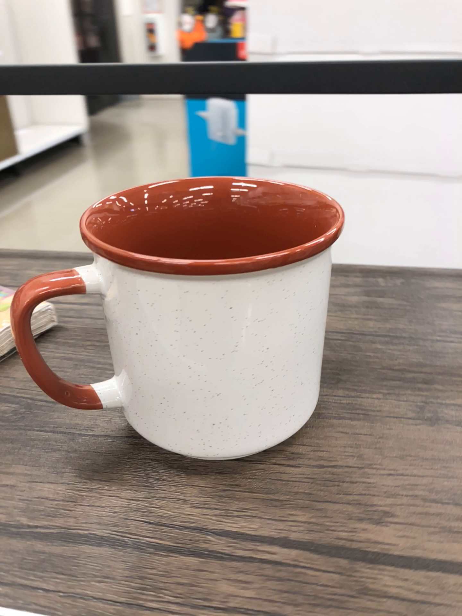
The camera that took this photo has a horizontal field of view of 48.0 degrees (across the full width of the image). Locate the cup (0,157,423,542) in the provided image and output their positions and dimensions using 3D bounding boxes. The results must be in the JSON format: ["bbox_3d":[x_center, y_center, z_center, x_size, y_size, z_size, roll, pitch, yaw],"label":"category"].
[{"bbox_3d":[-0.019,0.000,0.229,0.150,0.090,0.110,-15,32,-22],"label":"cup"}]
